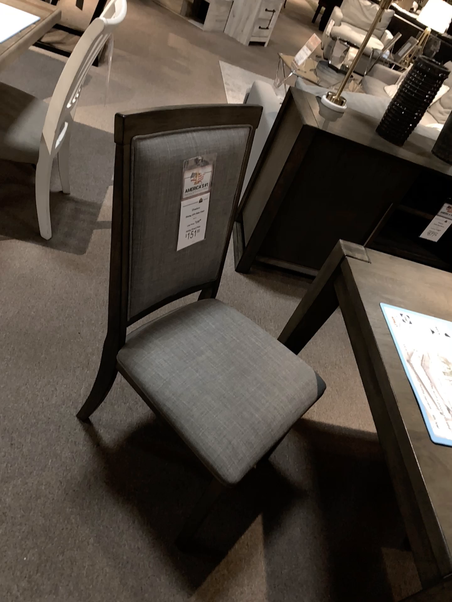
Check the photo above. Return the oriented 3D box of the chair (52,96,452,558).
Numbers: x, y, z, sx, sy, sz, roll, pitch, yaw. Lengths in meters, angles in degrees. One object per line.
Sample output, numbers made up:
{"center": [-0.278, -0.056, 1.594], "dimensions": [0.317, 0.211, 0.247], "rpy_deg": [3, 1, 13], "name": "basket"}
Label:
{"center": [-0.012, 0.087, 1.268], "dimensions": [0.643, 0.997, 0.516], "rpy_deg": [40, 41, 18], "name": "chair"}
